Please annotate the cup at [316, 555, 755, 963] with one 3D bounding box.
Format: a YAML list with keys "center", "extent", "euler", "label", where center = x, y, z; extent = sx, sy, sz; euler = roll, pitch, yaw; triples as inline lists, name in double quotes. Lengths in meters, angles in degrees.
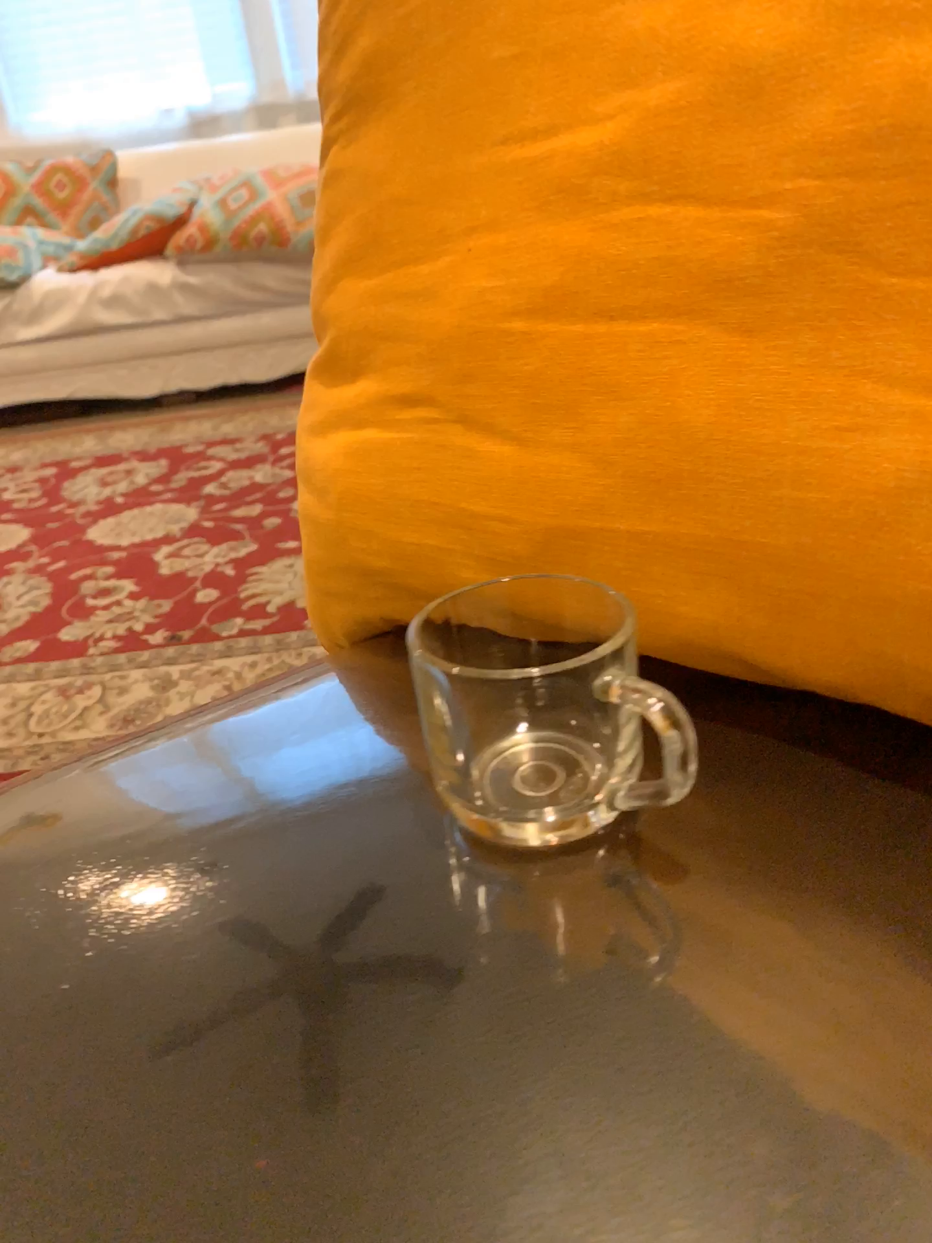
- center: [0.019, 0.031, 0.277]
  extent: [0.070, 0.060, 0.100]
  euler: [-28, 32, -35]
  label: "cup"
